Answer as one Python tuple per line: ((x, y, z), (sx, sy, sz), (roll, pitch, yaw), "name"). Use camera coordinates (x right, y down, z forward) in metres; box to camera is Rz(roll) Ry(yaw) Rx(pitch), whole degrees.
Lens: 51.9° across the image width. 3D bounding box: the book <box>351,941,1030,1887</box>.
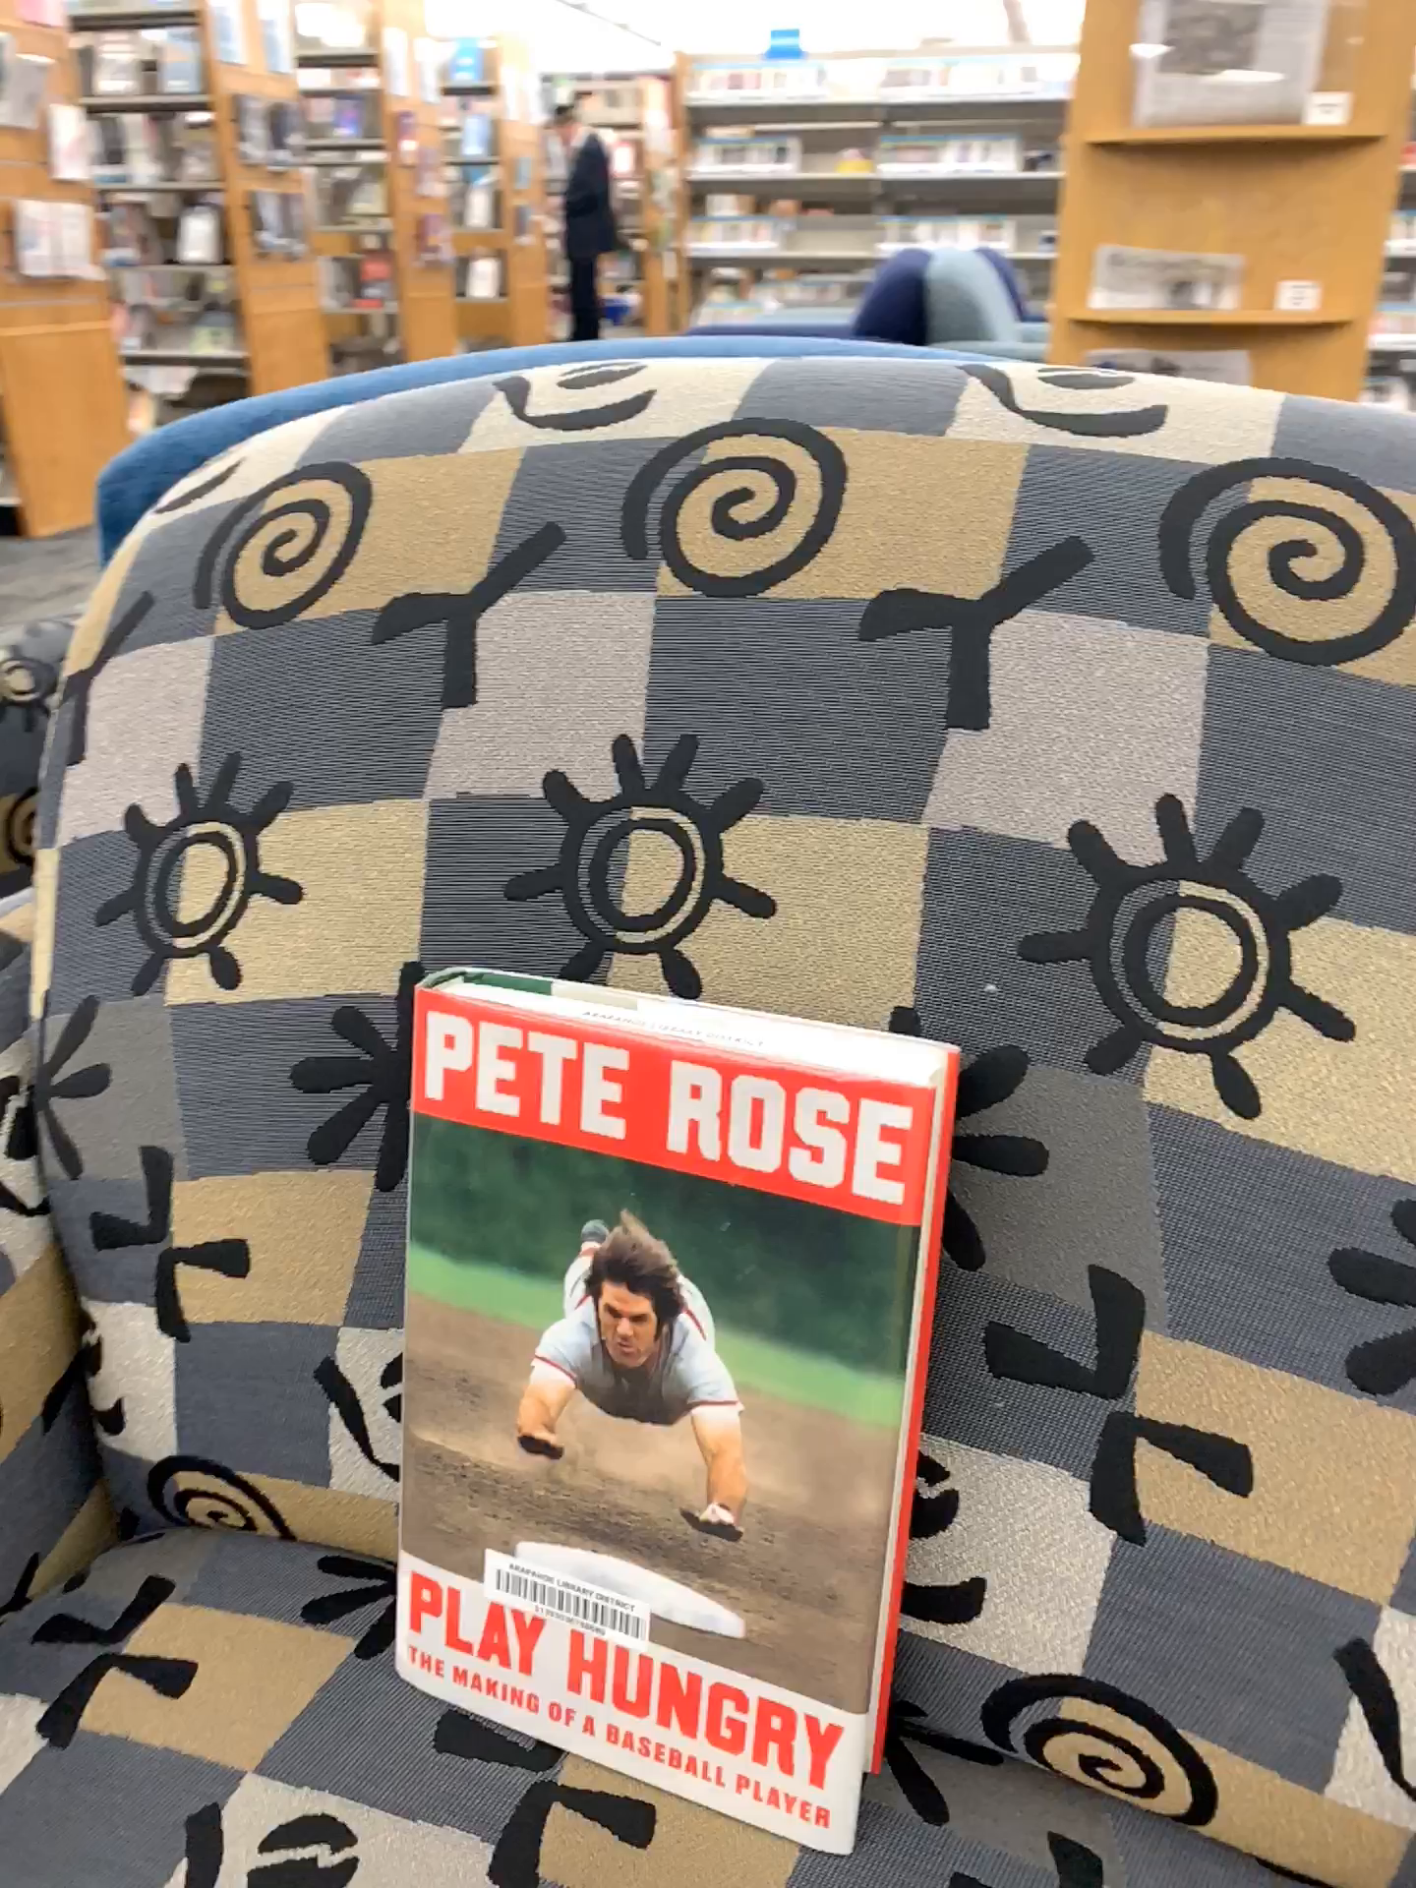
((-0.015, 0.139, 0.451), (0.190, 0.249, 0.040), (9, 13, 20), "book")
